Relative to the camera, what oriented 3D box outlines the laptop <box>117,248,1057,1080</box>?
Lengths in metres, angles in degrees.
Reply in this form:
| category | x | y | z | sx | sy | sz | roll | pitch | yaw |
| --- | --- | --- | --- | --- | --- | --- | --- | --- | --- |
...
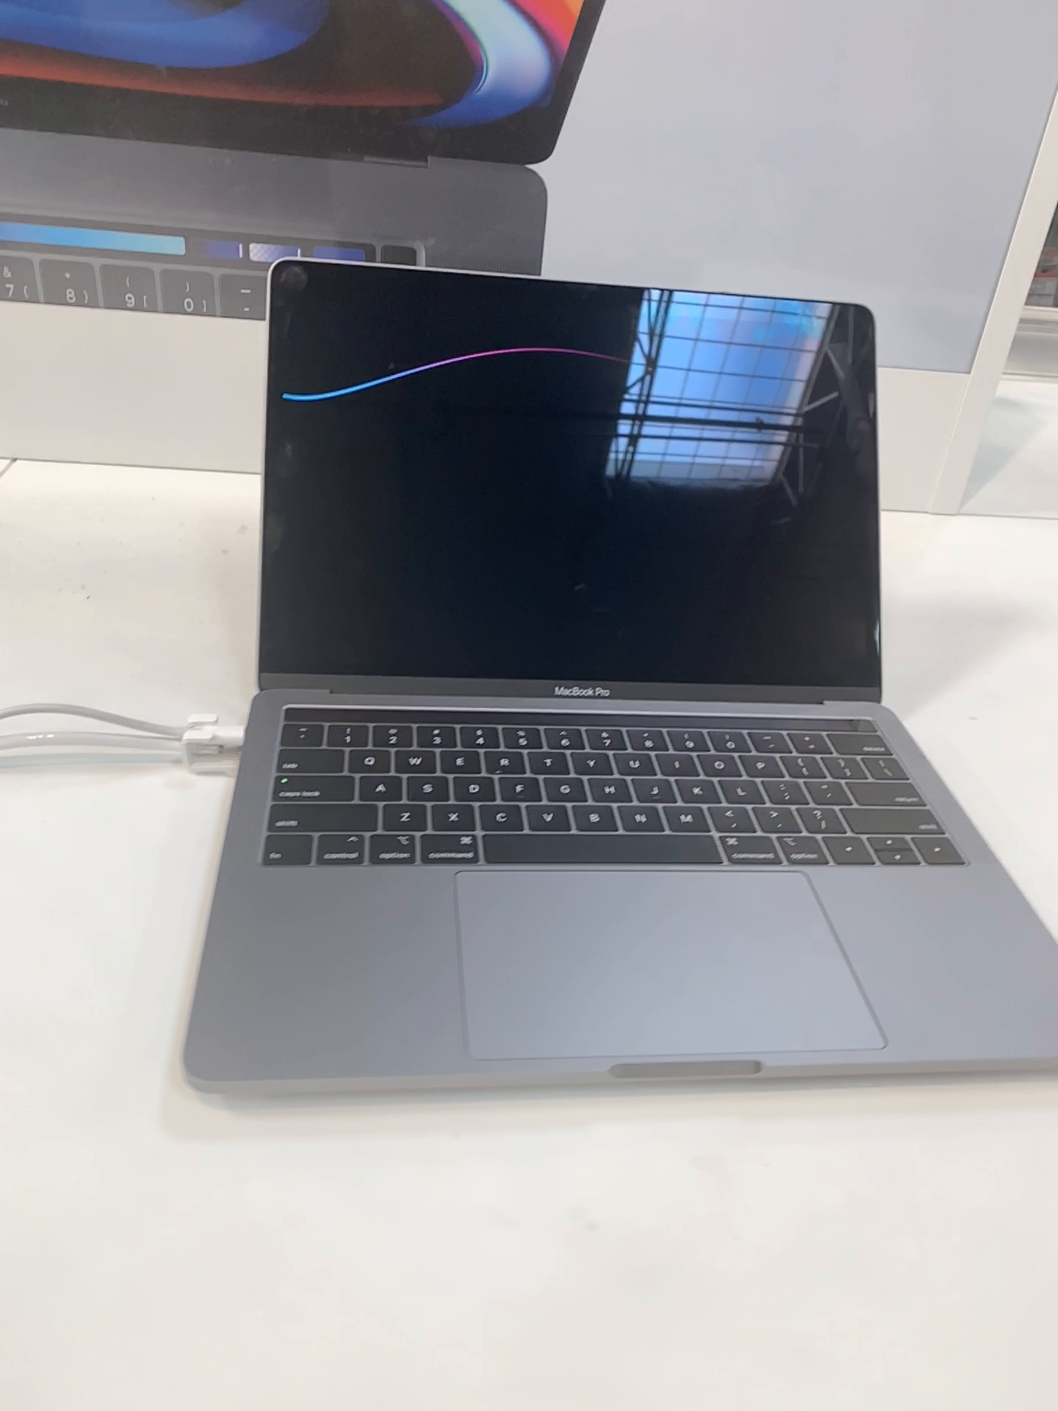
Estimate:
| category | x | y | z | sx | sy | sz | roll | pitch | yaw |
| --- | --- | --- | --- | --- | --- | --- | --- | --- | --- |
| laptop | 0.033 | -0.047 | 0.412 | 0.284 | 0.150 | 0.316 | 1 | 34 | -8 |
